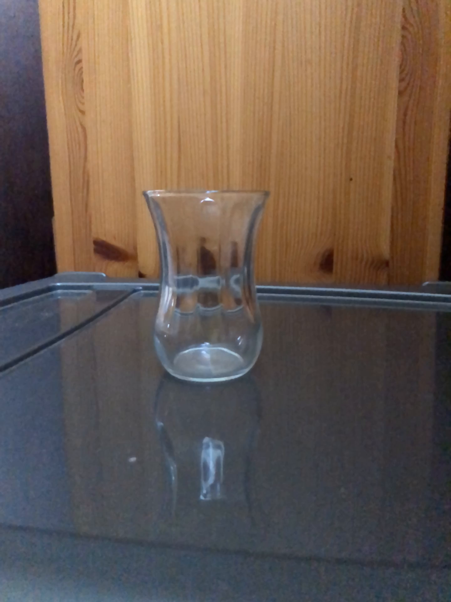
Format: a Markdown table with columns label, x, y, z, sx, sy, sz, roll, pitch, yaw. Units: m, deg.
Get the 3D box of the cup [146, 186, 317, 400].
| label | x | y | z | sx | sy | sz | roll | pitch | yaw |
| --- | --- | --- | --- | --- | --- | --- | --- | --- | --- |
| cup | -0.001 | -0.009 | 0.218 | 0.060 | 0.080 | 0.060 | 0 | 13 | 0 |
